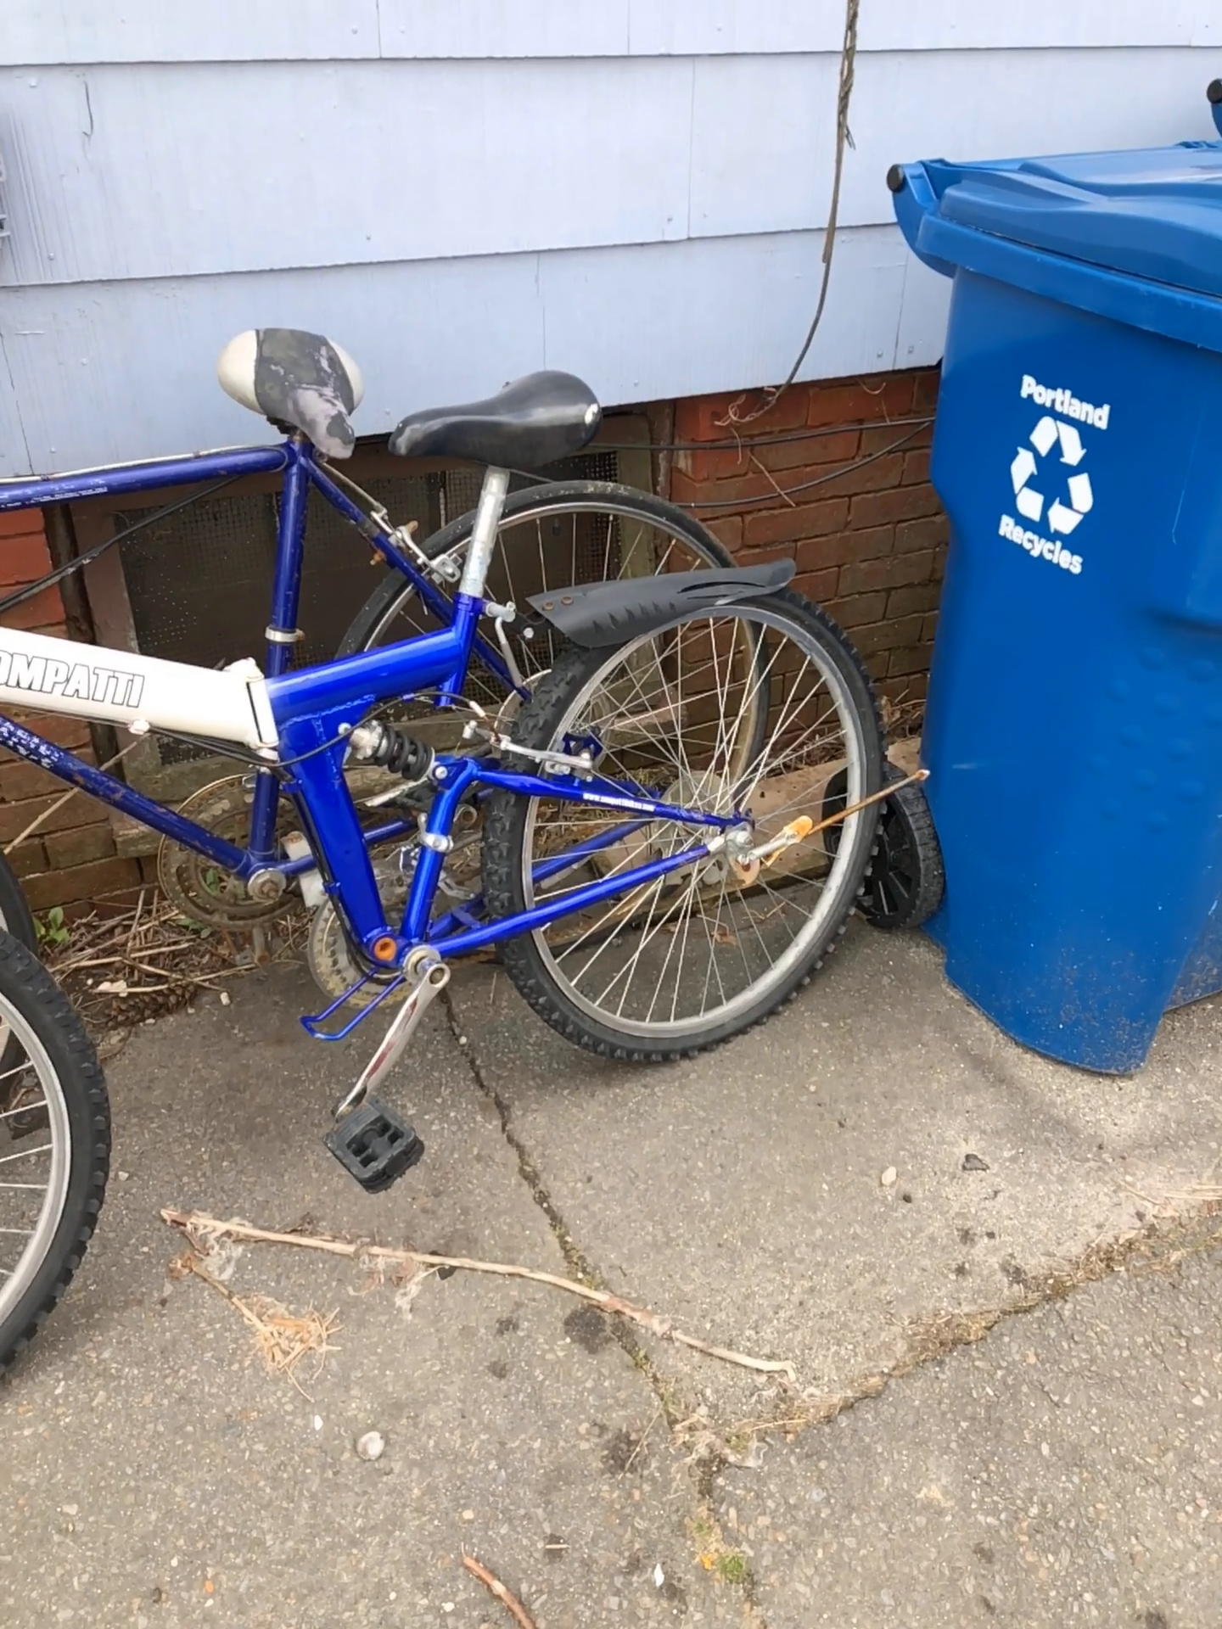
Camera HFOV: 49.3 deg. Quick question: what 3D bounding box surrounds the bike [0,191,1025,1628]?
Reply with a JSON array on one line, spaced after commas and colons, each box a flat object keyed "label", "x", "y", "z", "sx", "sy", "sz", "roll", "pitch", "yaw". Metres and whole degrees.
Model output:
[{"label": "bike", "x": -0.442, "y": 0.006, "z": 1.486, "sx": 1.731, "sy": 0.979, "sz": 0.564, "roll": -23, "pitch": 40, "yaw": -27}]
